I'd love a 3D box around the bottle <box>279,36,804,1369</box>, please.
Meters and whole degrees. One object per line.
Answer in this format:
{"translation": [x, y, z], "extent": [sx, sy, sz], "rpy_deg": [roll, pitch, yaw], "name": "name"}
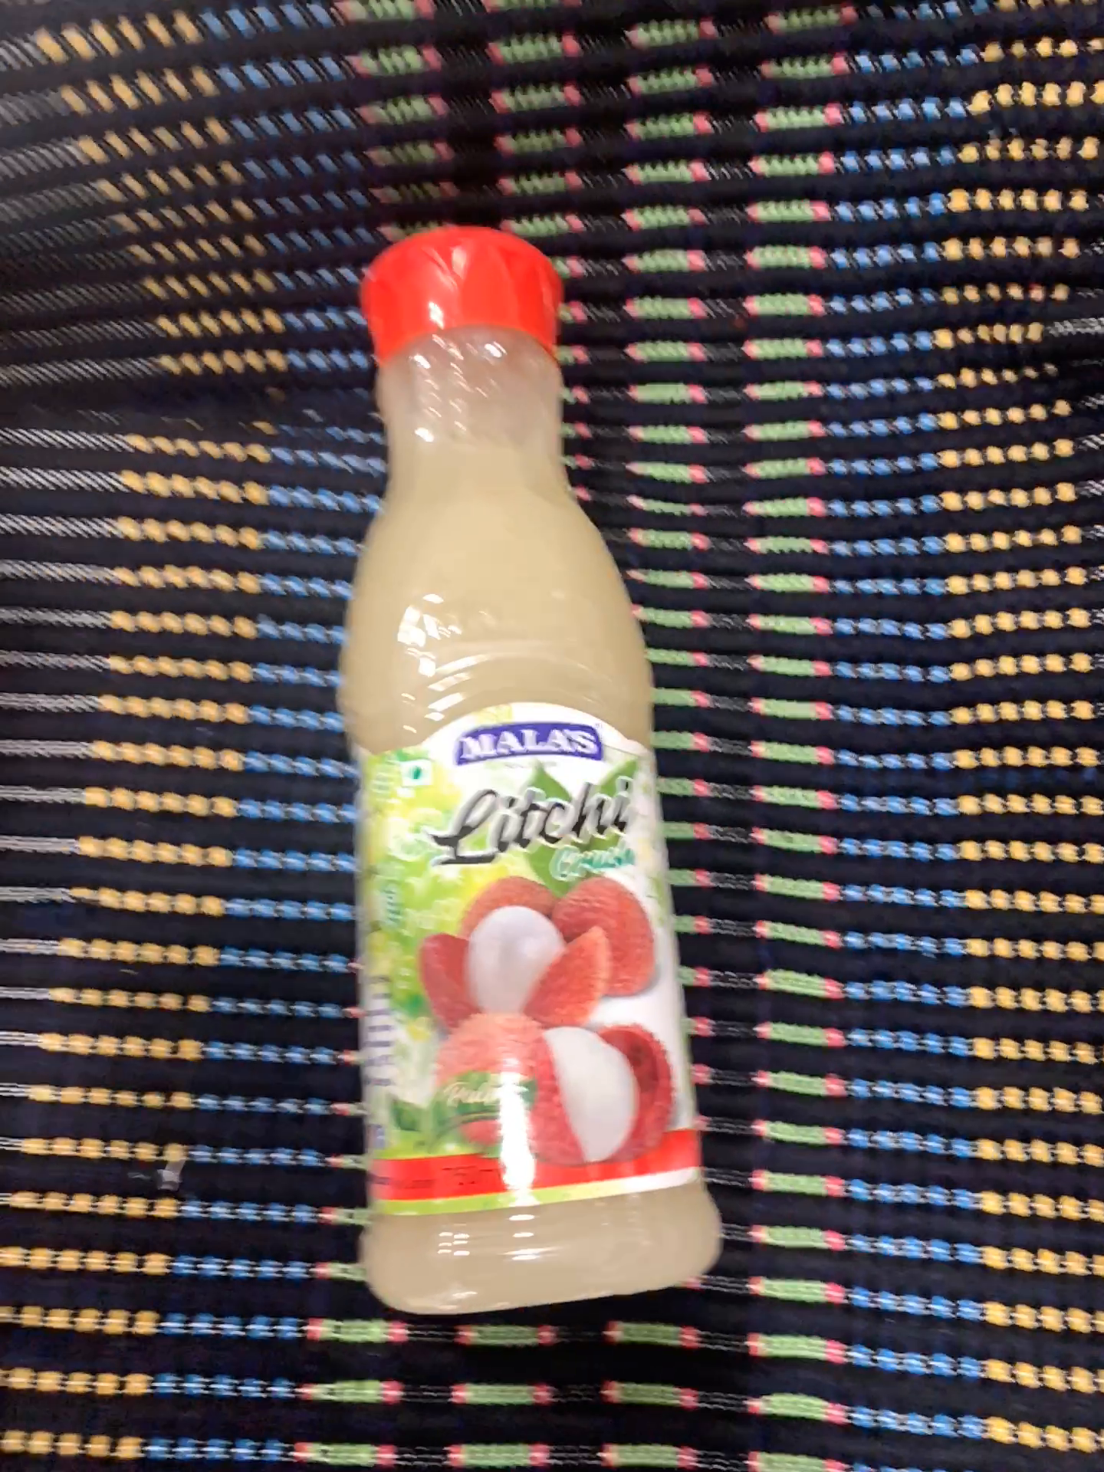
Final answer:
{"translation": [-0.014, -0.017, 0.257], "extent": [0.080, 0.080, 0.260], "rpy_deg": [-3, 75, -9], "name": "bottle"}
